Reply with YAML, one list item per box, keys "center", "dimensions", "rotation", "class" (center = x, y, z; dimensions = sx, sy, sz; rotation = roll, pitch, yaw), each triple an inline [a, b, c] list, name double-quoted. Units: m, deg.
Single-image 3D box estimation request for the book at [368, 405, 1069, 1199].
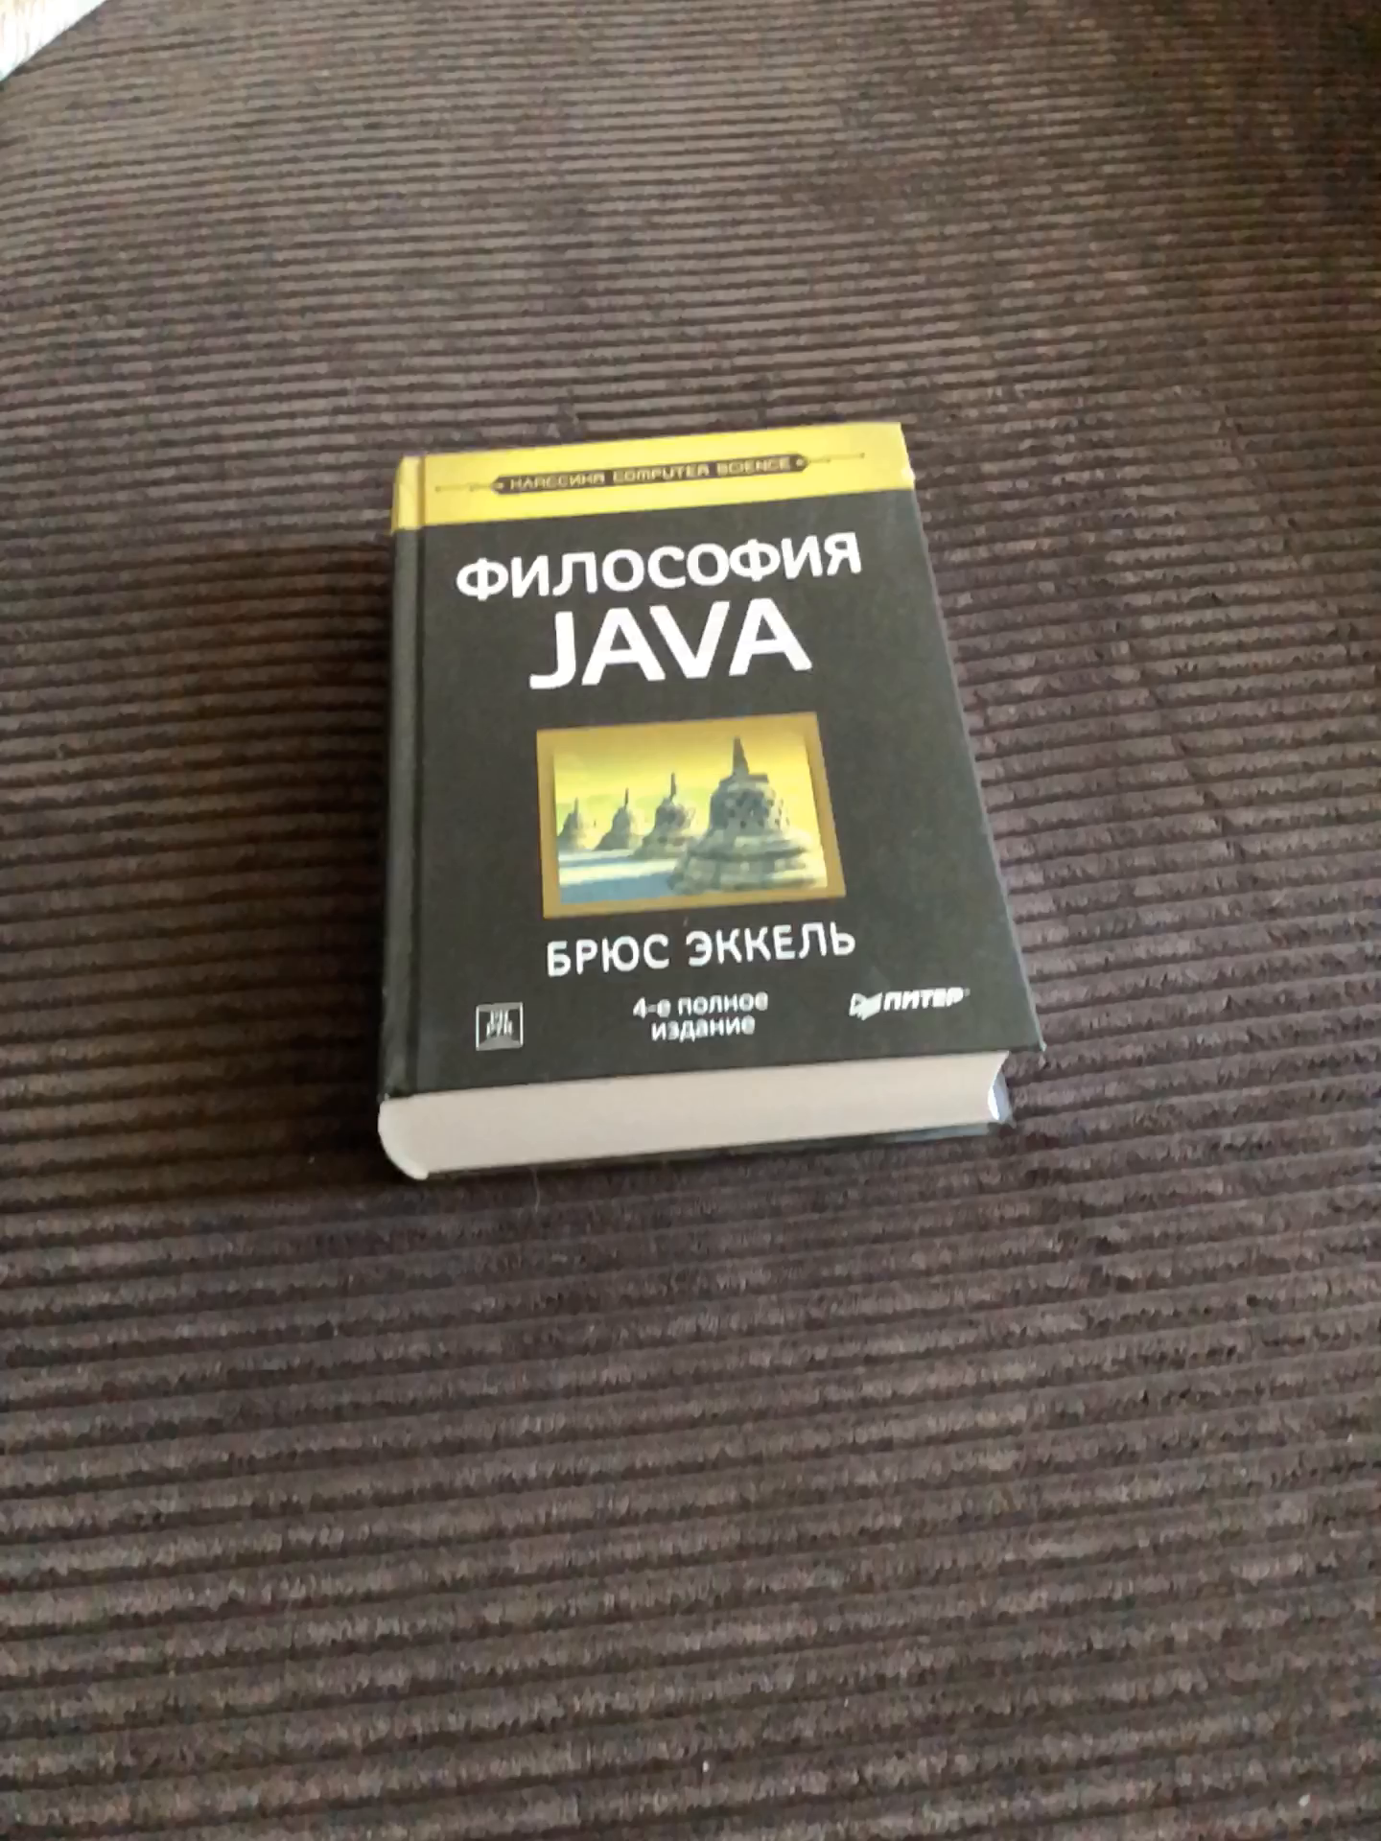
- center: [-0.003, -0.047, 0.459]
  dimensions: [0.171, 0.060, 0.240]
  rotation: [-4, 57, -3]
  class: "book"
